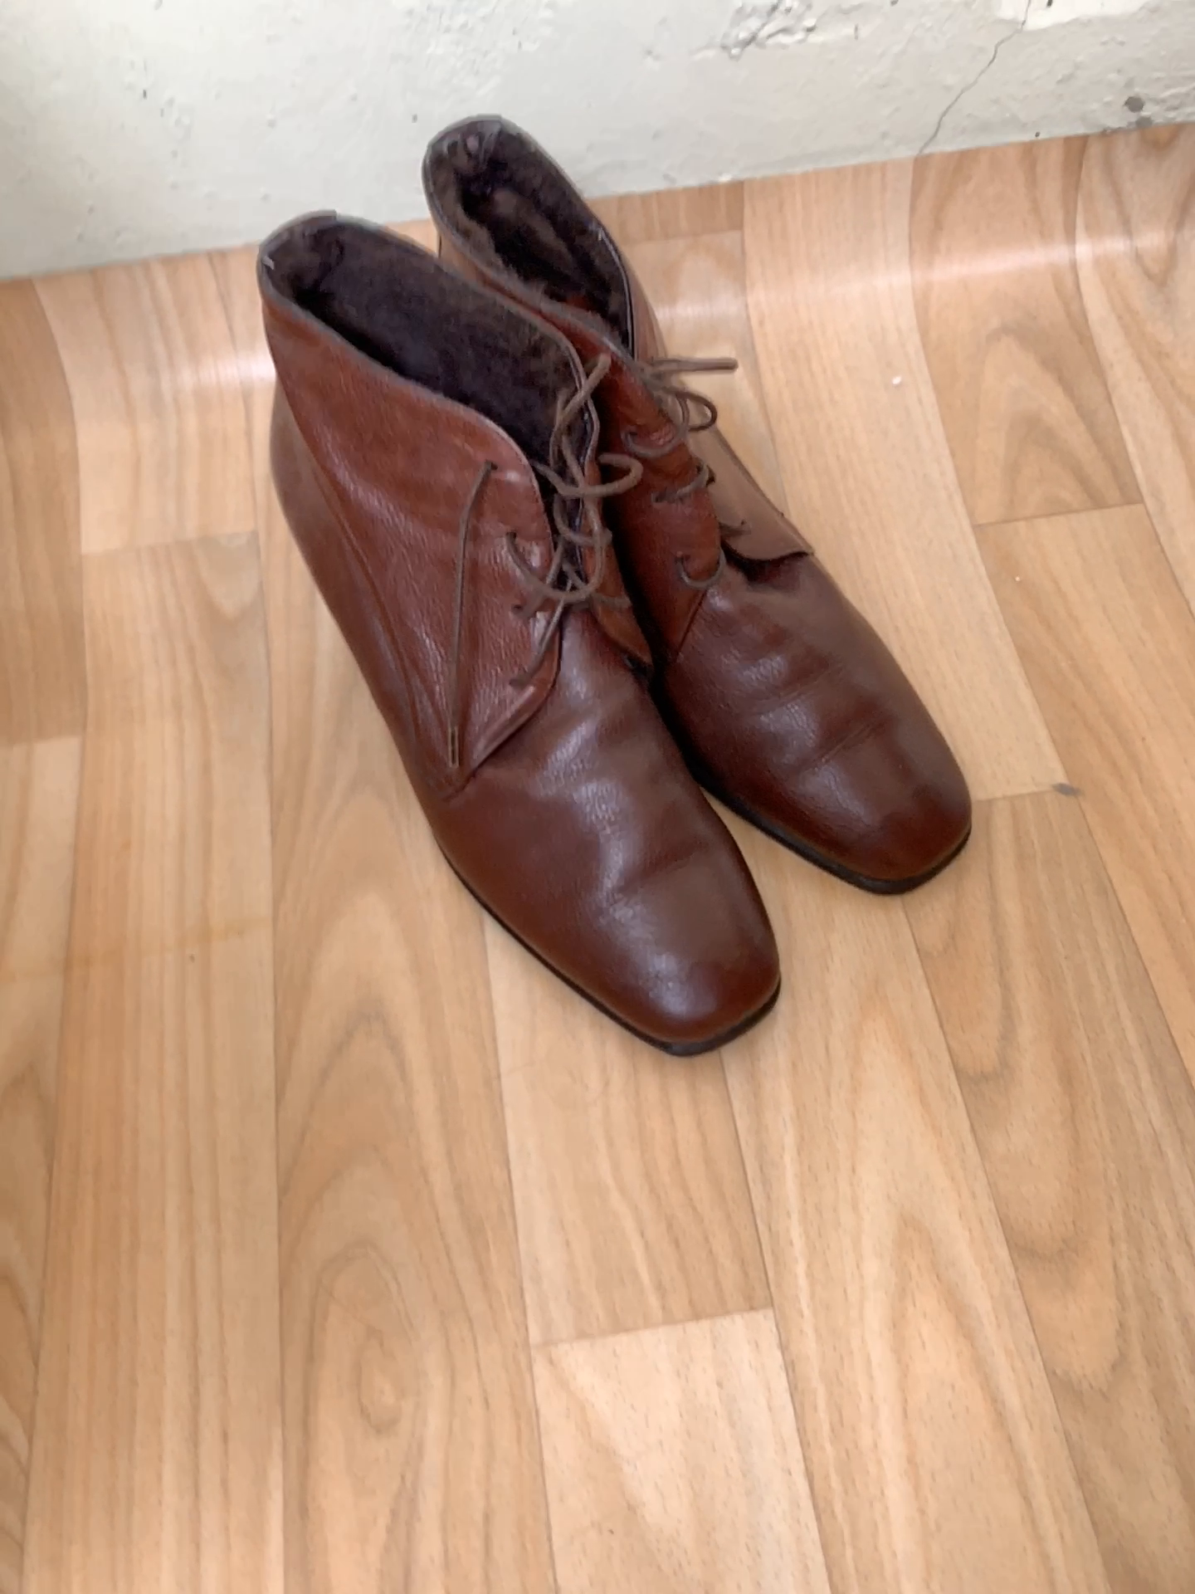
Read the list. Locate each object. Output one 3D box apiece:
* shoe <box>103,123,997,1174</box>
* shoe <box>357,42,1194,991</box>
[{"bbox_3d":[-0.020,-0.034,0.322,0.080,0.150,0.220,-31,65,-13],"label":"shoe"},{"bbox_3d":[0.040,-0.076,0.354,0.080,0.150,0.220,-35,66,-15],"label":"shoe"}]
